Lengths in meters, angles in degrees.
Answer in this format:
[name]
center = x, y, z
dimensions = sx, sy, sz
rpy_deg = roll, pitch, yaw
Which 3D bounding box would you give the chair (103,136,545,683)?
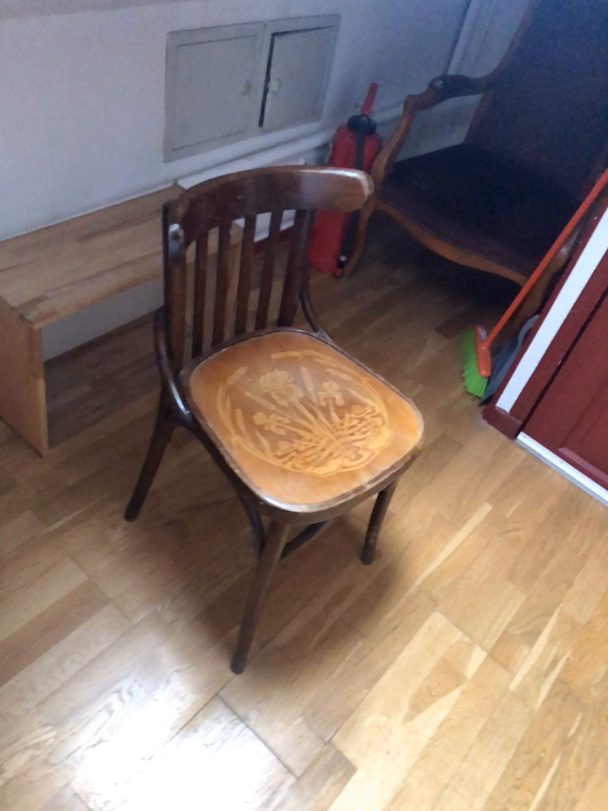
[chair]
center = -0.030, 0.019, 1.143
dimensions = 0.412, 0.737, 0.445
rpy_deg = 41, 48, 24
